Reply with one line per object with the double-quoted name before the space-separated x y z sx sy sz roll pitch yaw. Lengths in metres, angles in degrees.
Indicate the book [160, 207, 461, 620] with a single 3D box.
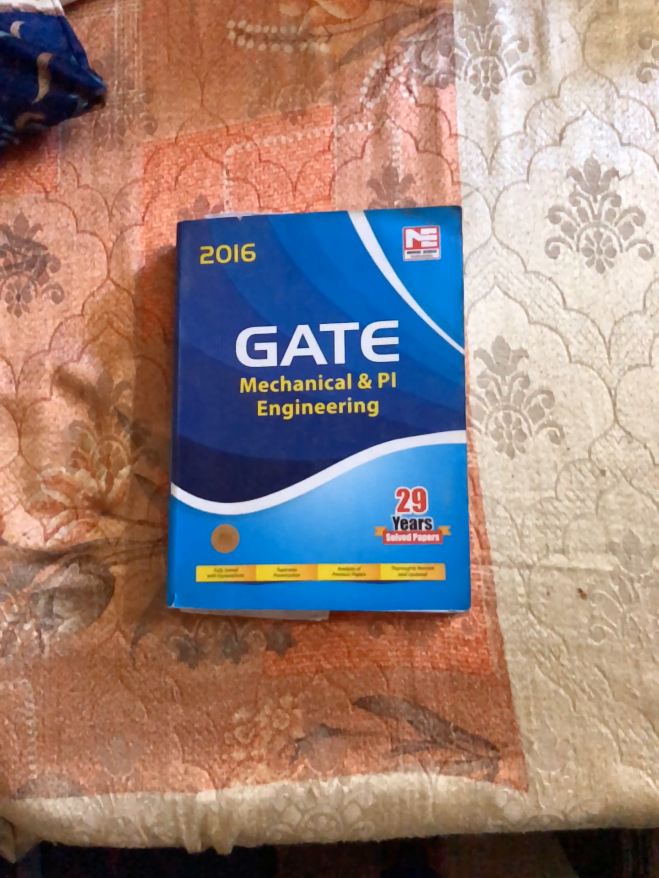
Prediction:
"book" -0.010 -0.018 0.527 0.200 0.051 0.280 0 82 8
